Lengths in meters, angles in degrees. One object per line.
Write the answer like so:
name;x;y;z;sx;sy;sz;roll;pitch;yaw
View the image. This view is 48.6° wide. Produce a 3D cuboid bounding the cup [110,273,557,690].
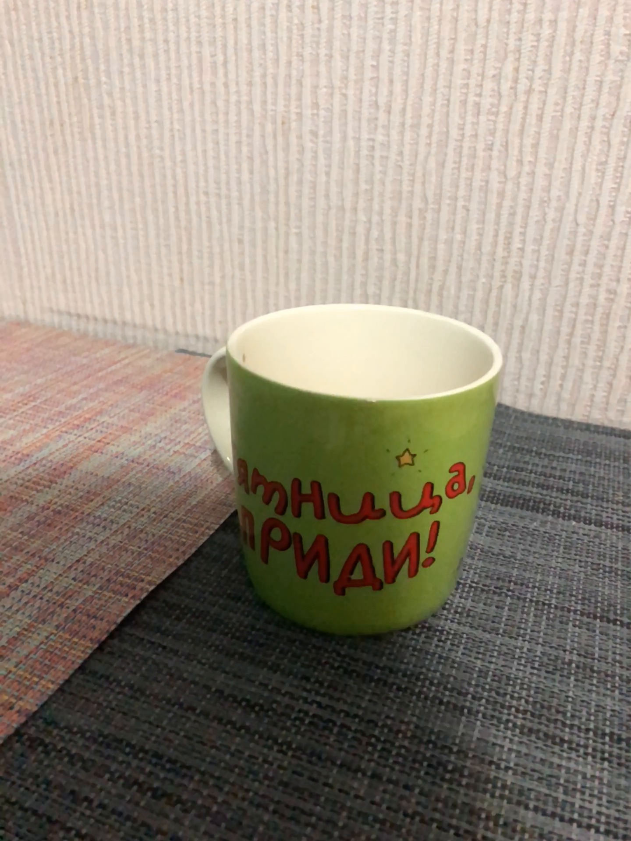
cup;0.004;0.008;0.246;0.115;0.084;0.090;21;31;35
